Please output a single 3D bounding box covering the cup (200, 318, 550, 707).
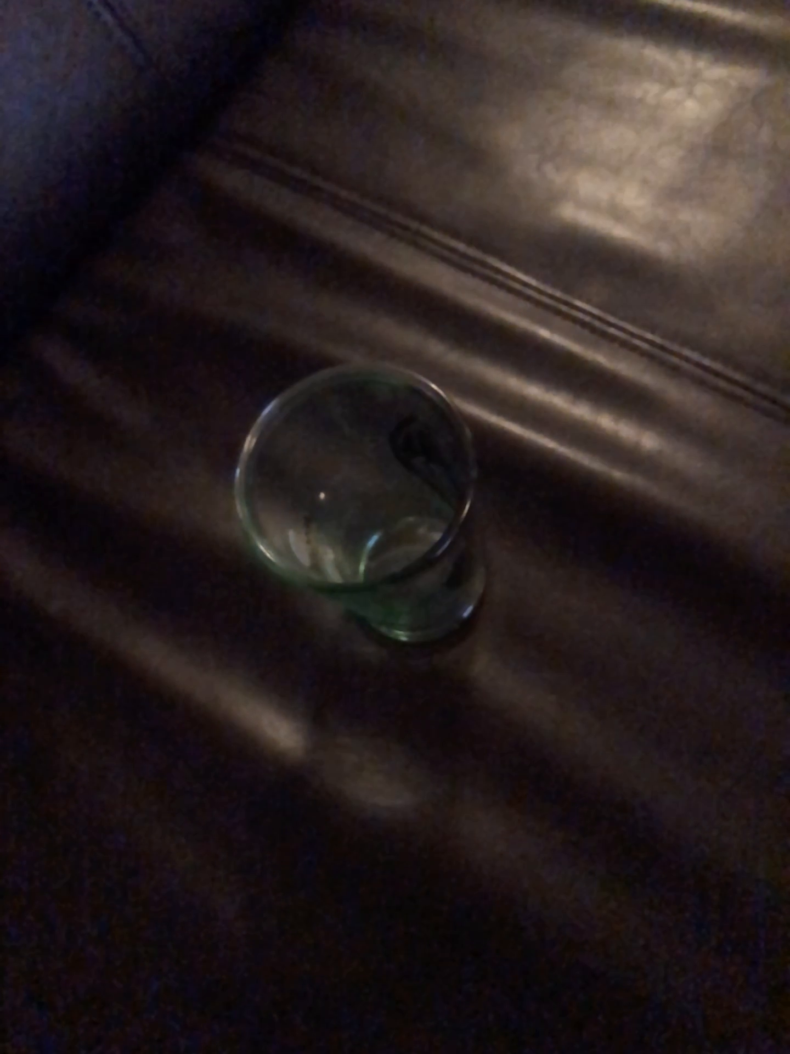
[{"bbox_3d":[0.000,0.004,0.323,0.087,0.117,0.085,-3,70,9],"label":"cup"}]
